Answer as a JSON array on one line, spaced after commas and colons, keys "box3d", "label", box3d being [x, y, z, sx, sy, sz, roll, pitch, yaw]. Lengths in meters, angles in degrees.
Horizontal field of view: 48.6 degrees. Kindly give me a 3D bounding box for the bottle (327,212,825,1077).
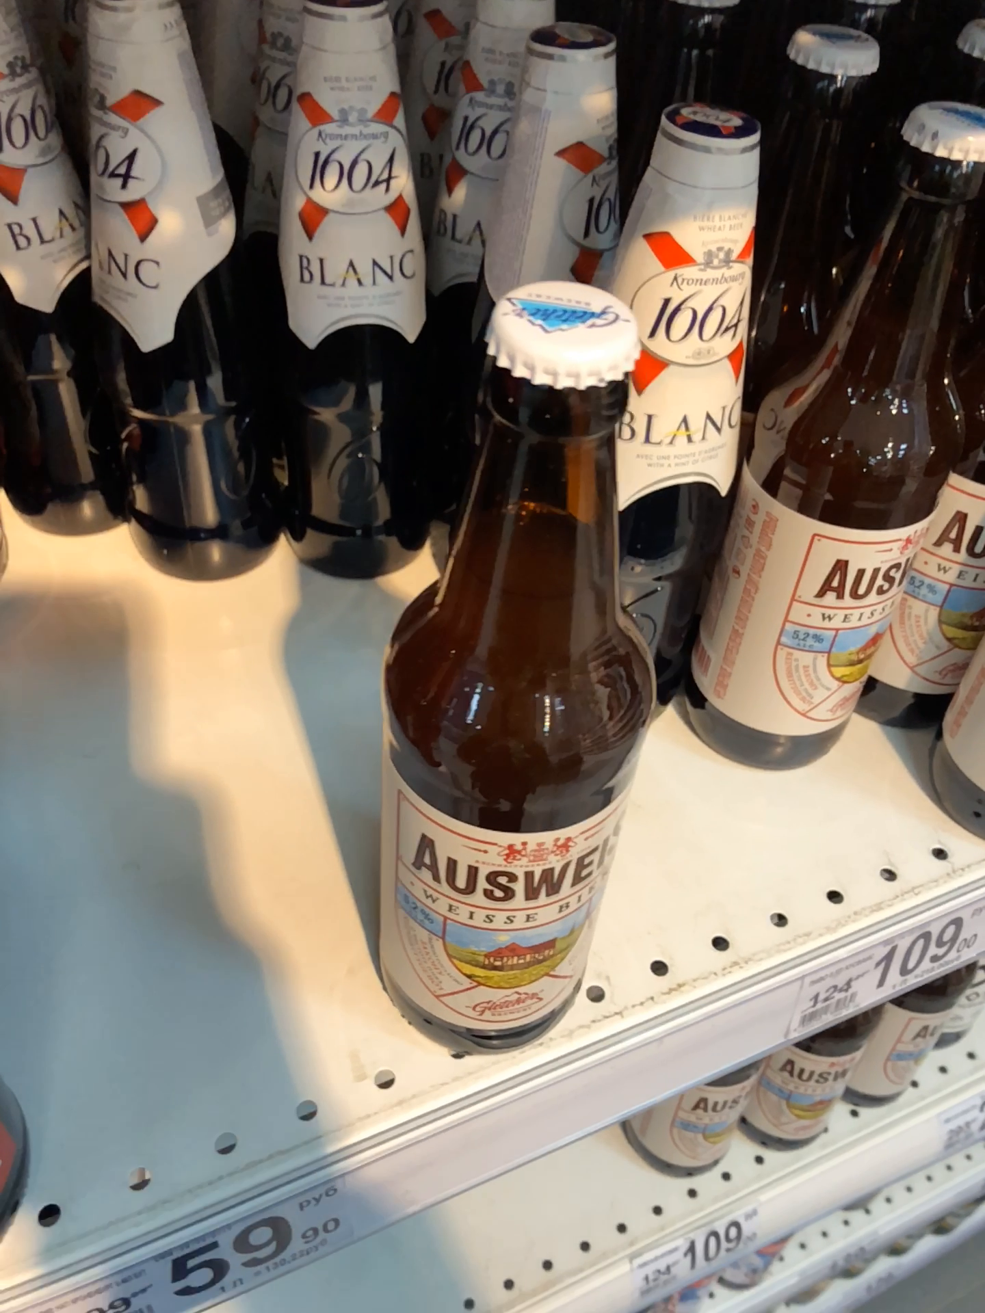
[{"box3d": [0.005, 0.019, 0.295, 0.080, 0.248, 0.070, -6, 46, -10], "label": "bottle"}]
